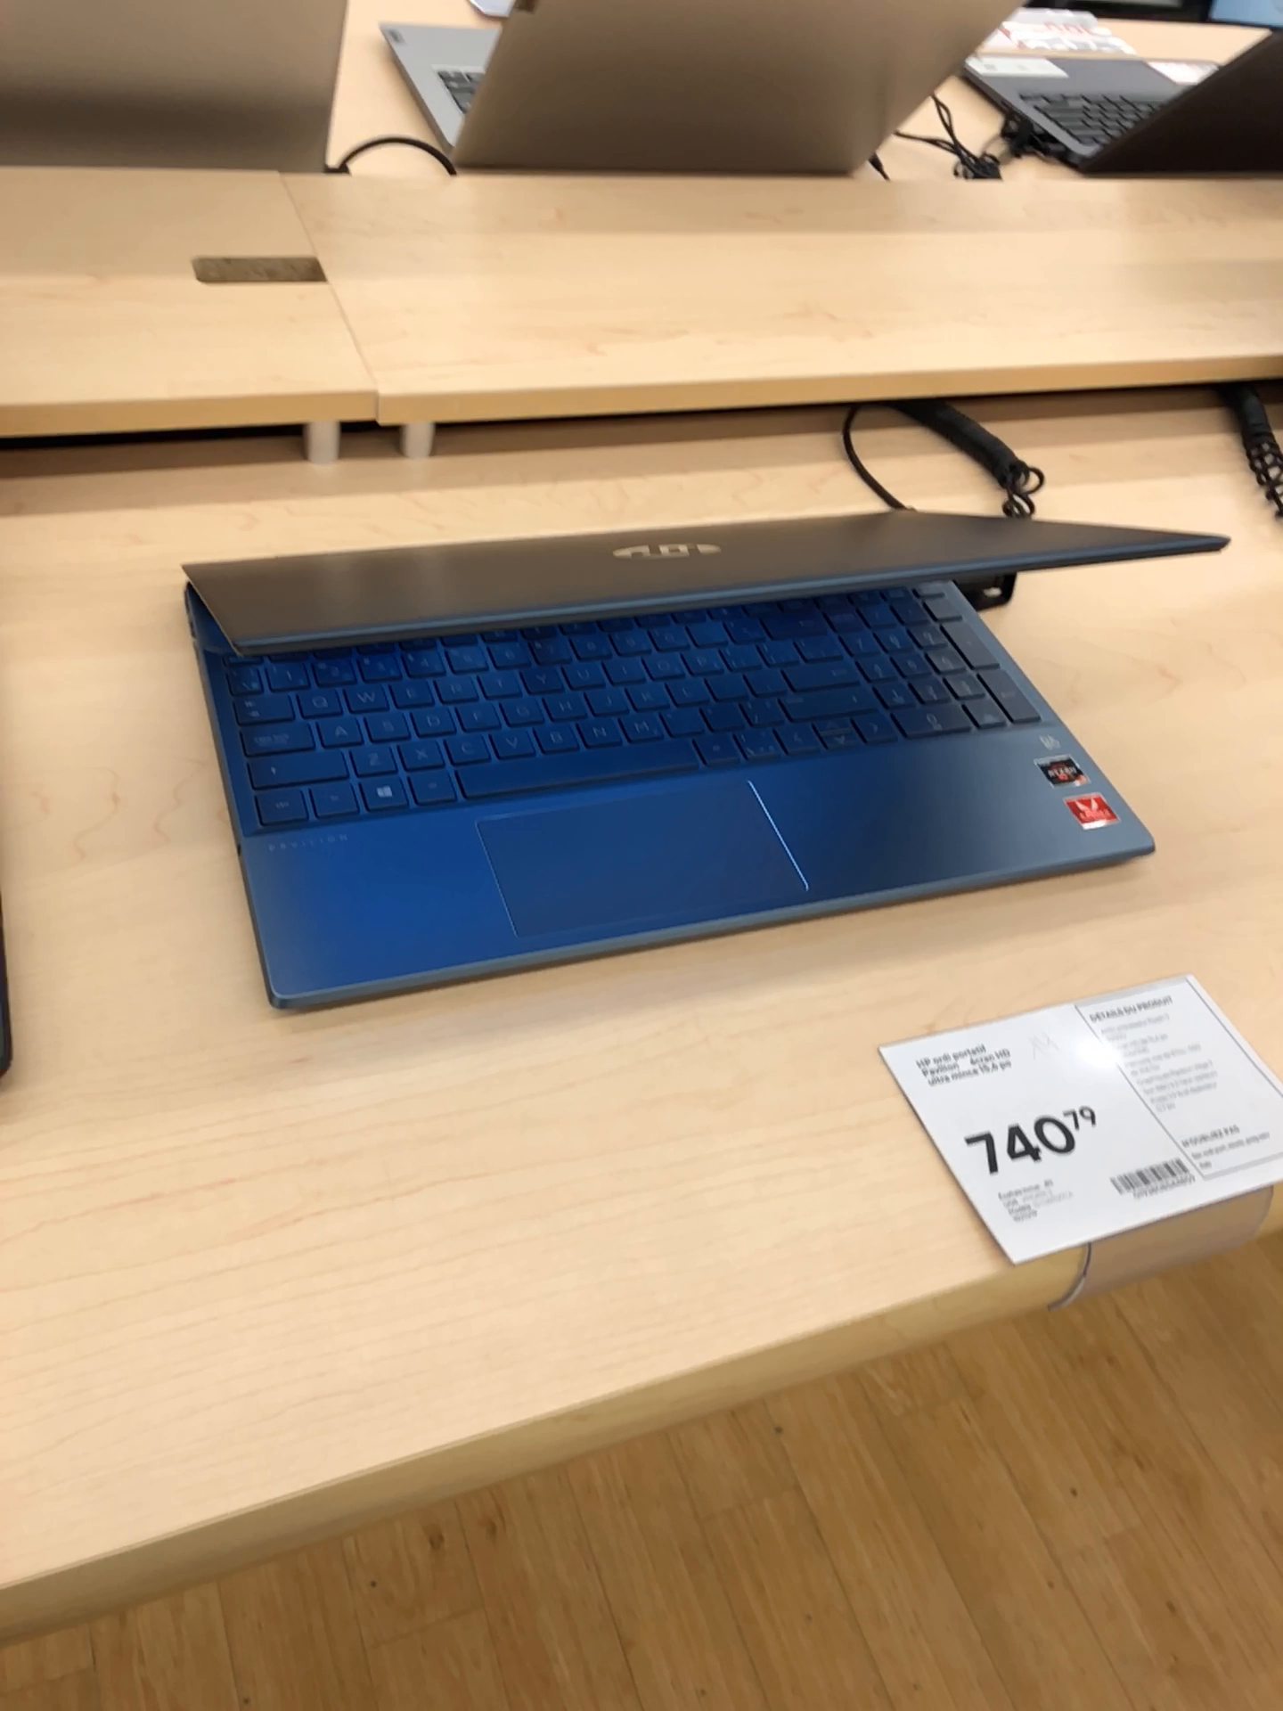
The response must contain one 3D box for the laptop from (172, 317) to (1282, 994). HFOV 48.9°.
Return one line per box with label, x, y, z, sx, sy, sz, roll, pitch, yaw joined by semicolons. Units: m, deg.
laptop;0.020;-0.096;0.542;0.350;0.119;0.209;-9;50;-20
